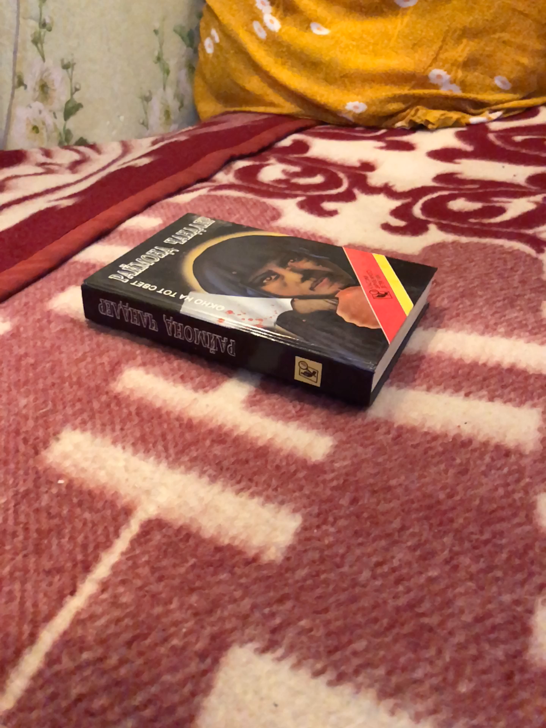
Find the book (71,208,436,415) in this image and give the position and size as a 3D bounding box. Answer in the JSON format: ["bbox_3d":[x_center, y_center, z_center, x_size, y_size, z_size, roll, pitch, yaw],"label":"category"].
[{"bbox_3d":[-0.010,-0.049,0.419,0.209,0.032,0.134,18,40,21],"label":"book"}]
